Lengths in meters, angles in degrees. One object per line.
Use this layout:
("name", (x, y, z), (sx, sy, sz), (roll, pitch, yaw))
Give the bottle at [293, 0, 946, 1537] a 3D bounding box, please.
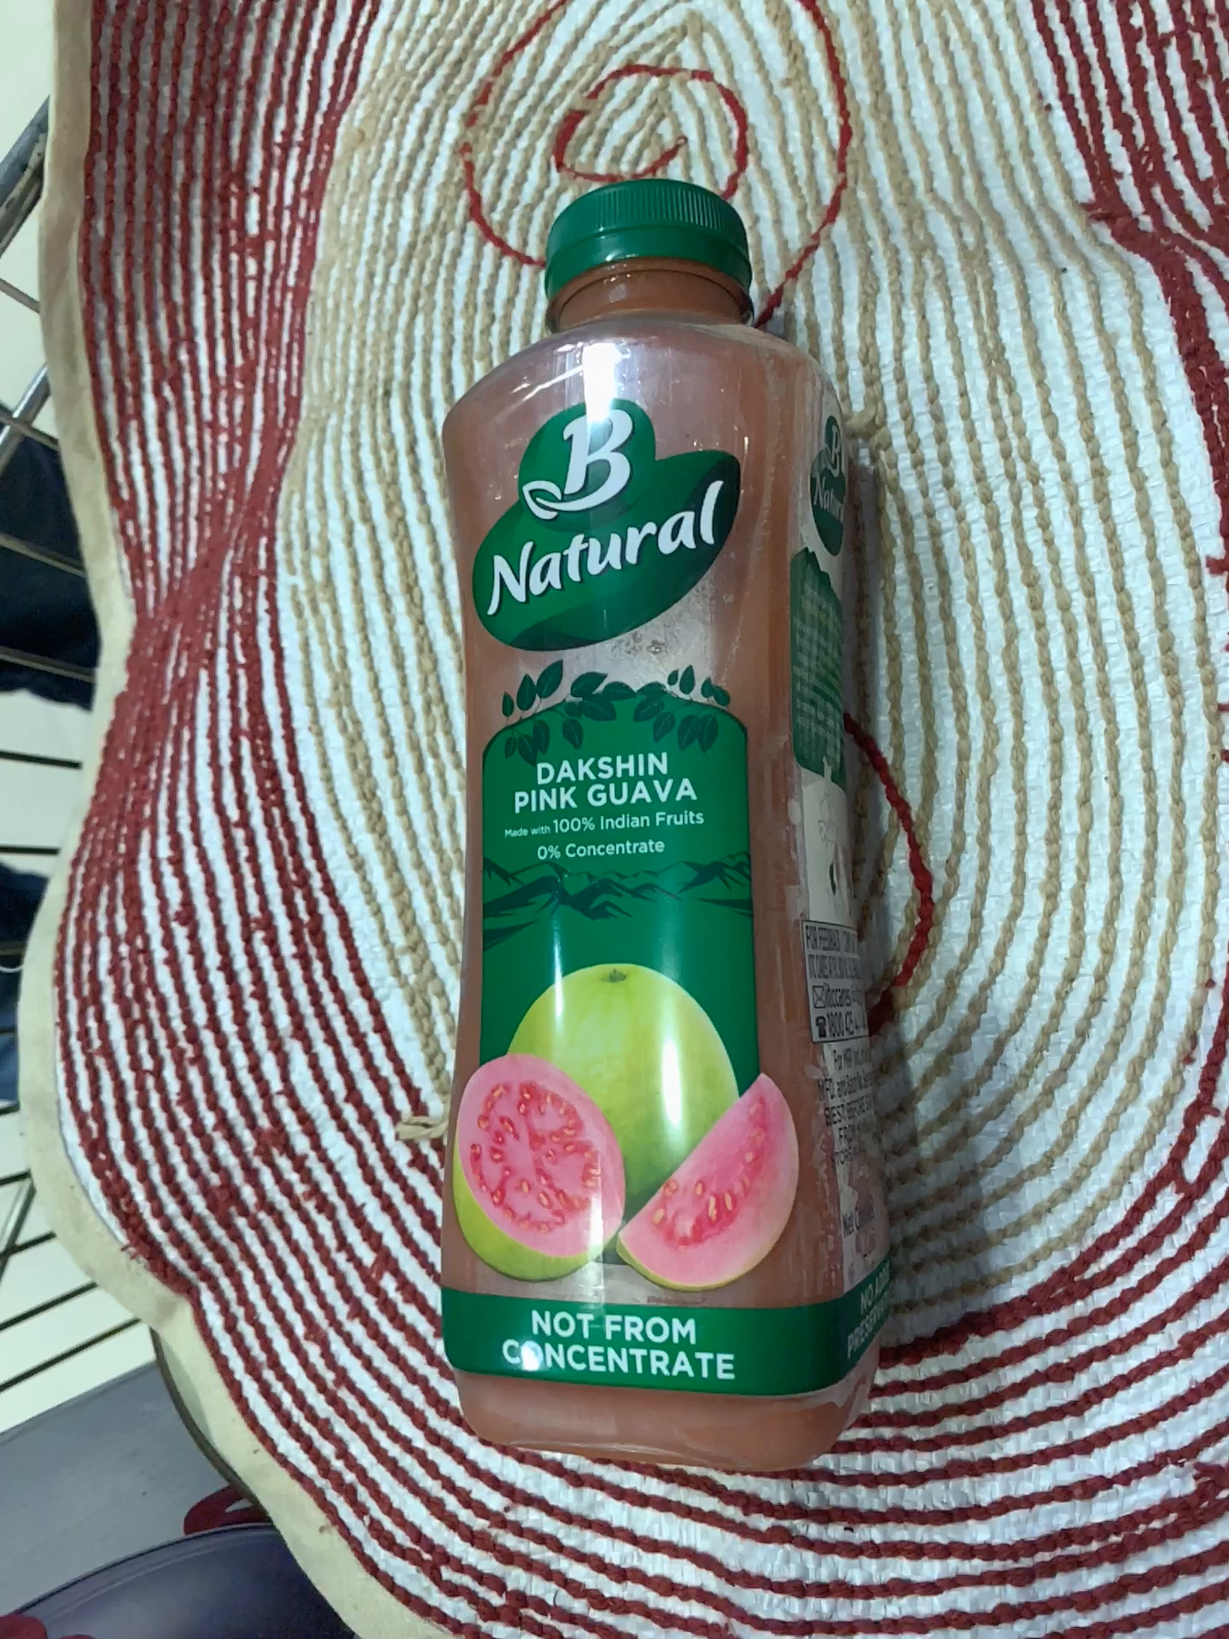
("bottle", (0.004, -0.016, 0.202), (0.080, 0.060, 0.210), (-3, 81, 20))
